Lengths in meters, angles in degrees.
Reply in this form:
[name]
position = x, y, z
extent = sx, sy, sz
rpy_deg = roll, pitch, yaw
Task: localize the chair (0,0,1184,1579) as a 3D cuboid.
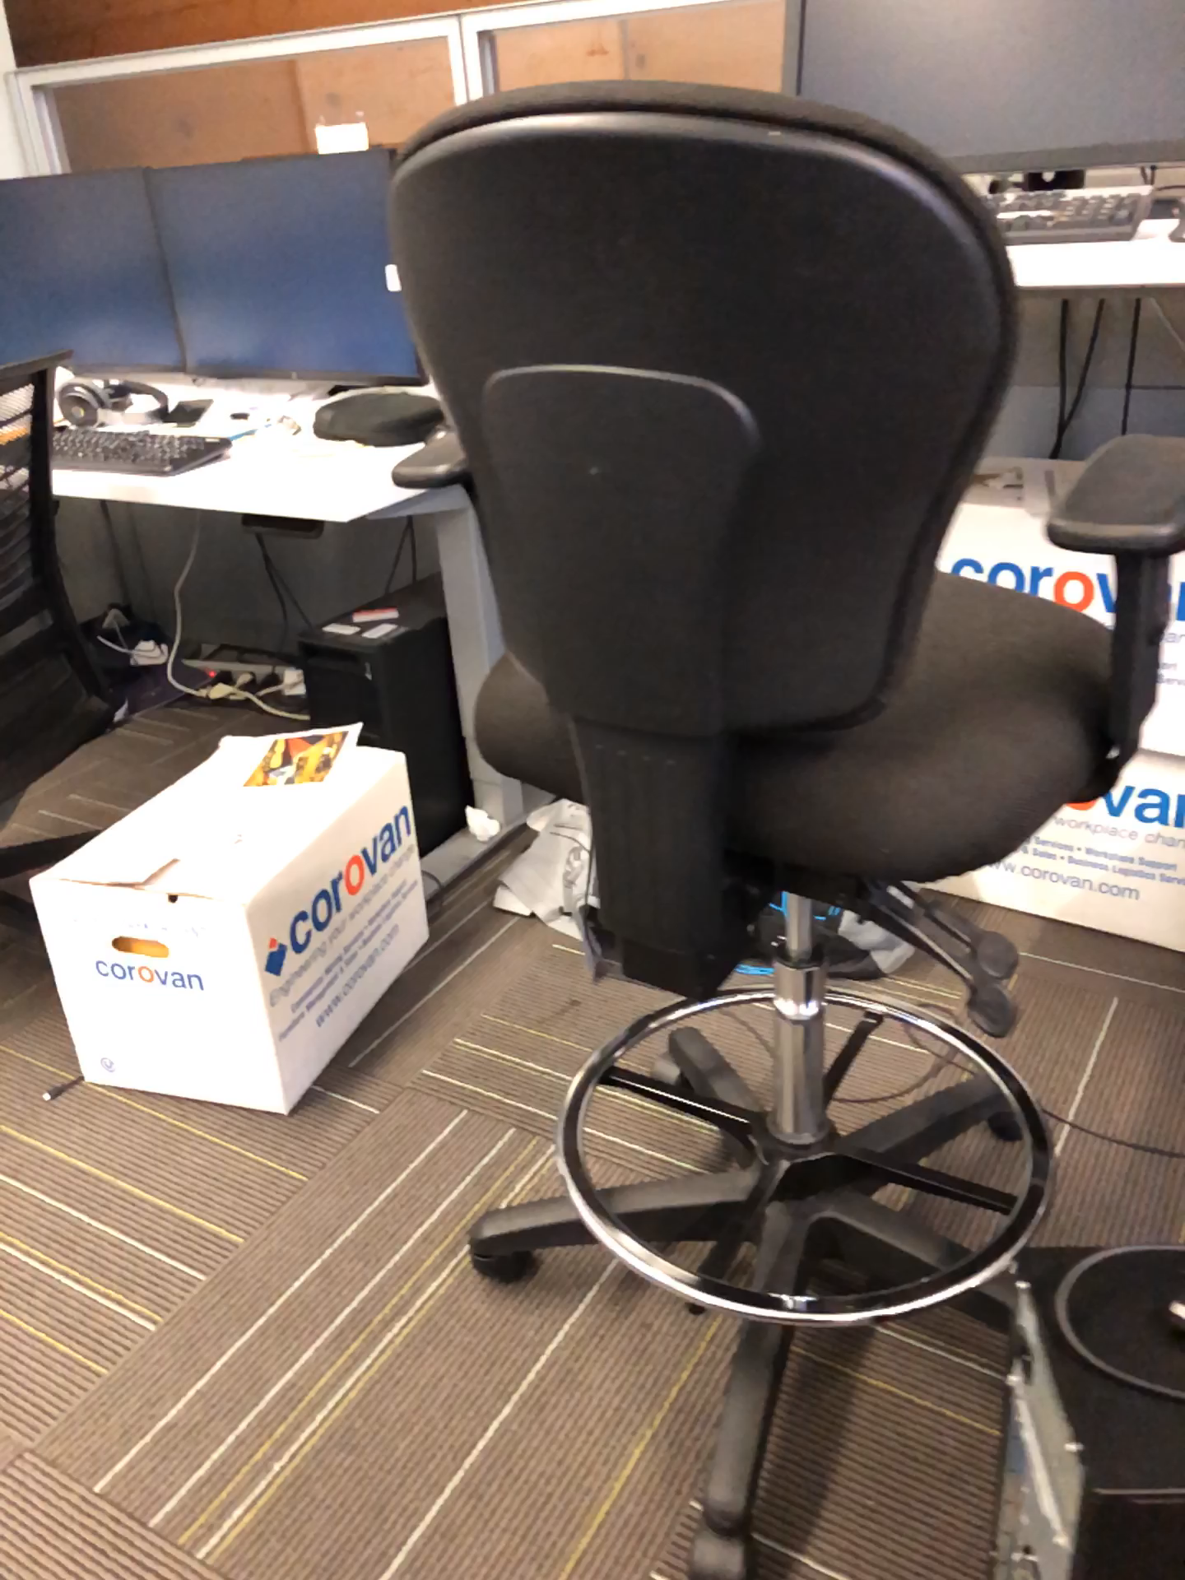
[chair]
position = 0.116, -0.046, 1.230
extent = 0.891, 1.104, 0.964
rpy_deg = 11, 30, 28
